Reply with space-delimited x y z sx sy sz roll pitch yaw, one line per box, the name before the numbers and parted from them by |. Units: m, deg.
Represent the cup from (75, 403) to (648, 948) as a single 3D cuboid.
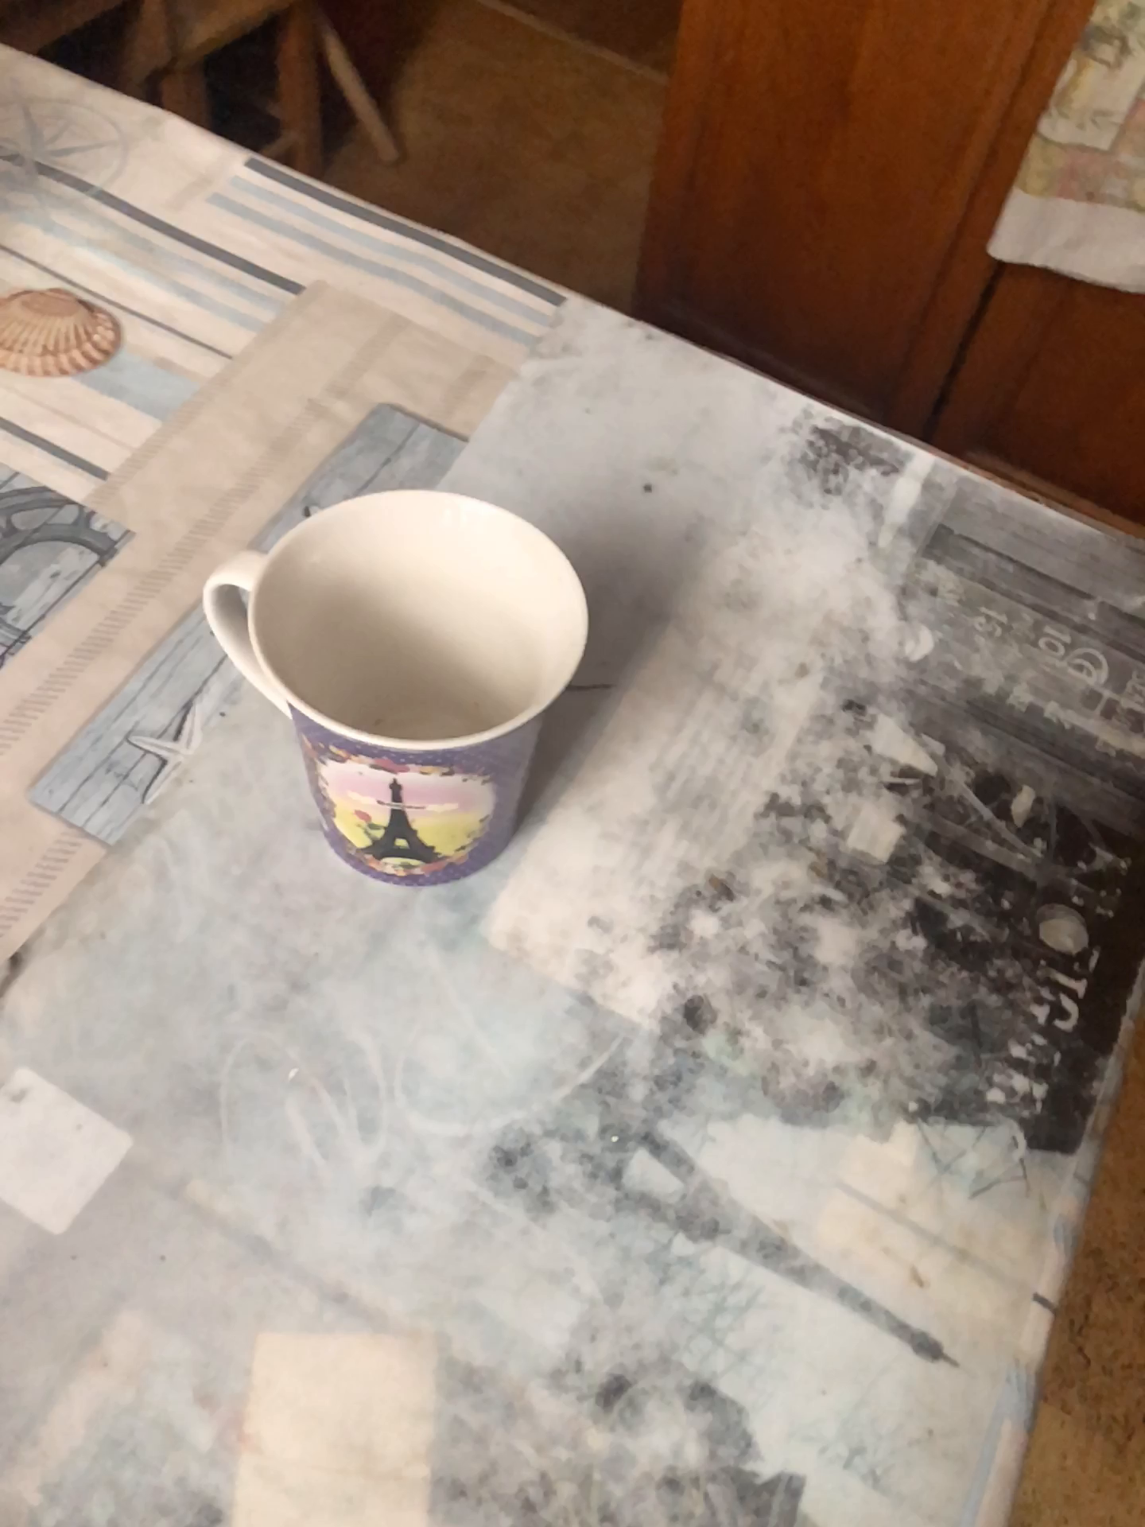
cup | -0.055 -0.024 0.364 0.120 0.085 0.091 20 58 6
